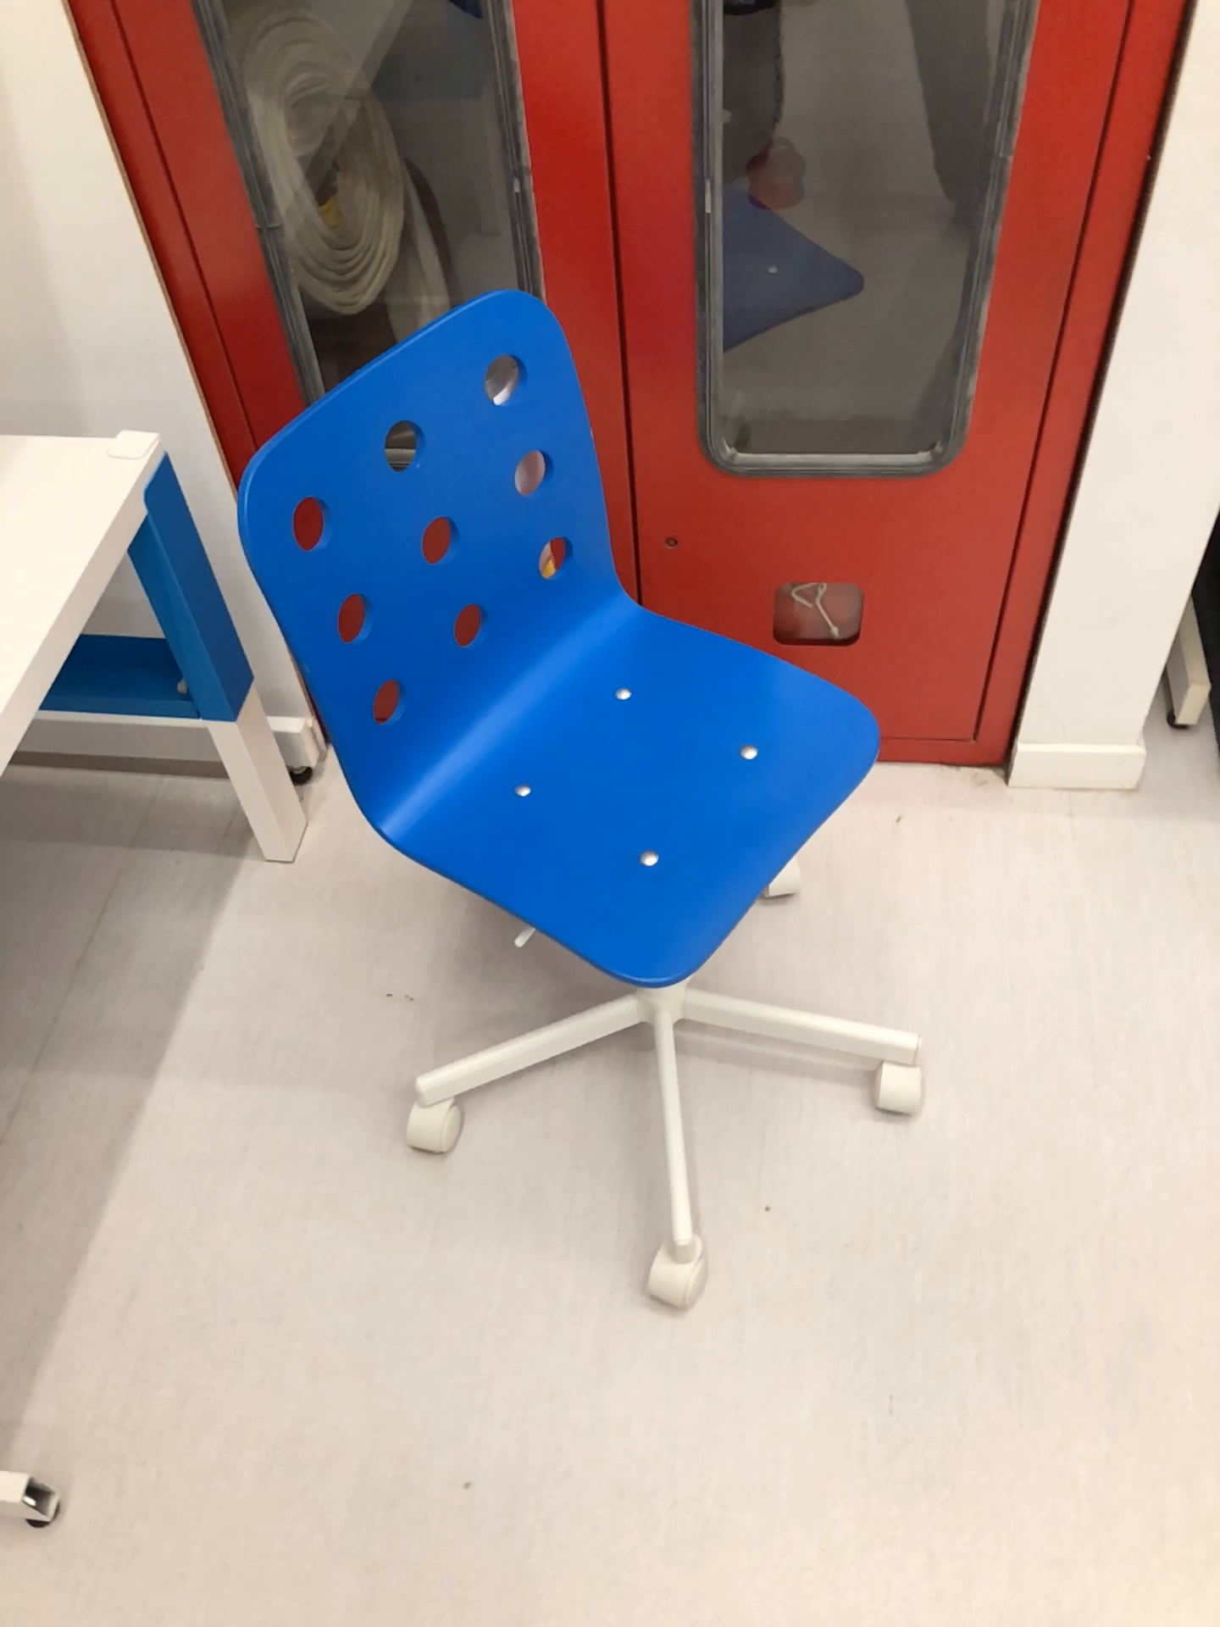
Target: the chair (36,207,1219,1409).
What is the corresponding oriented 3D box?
[{"bbox_3d":[0.044,-0.013,1.124,0.562,0.626,0.572,29,58,26],"label":"chair"}]
